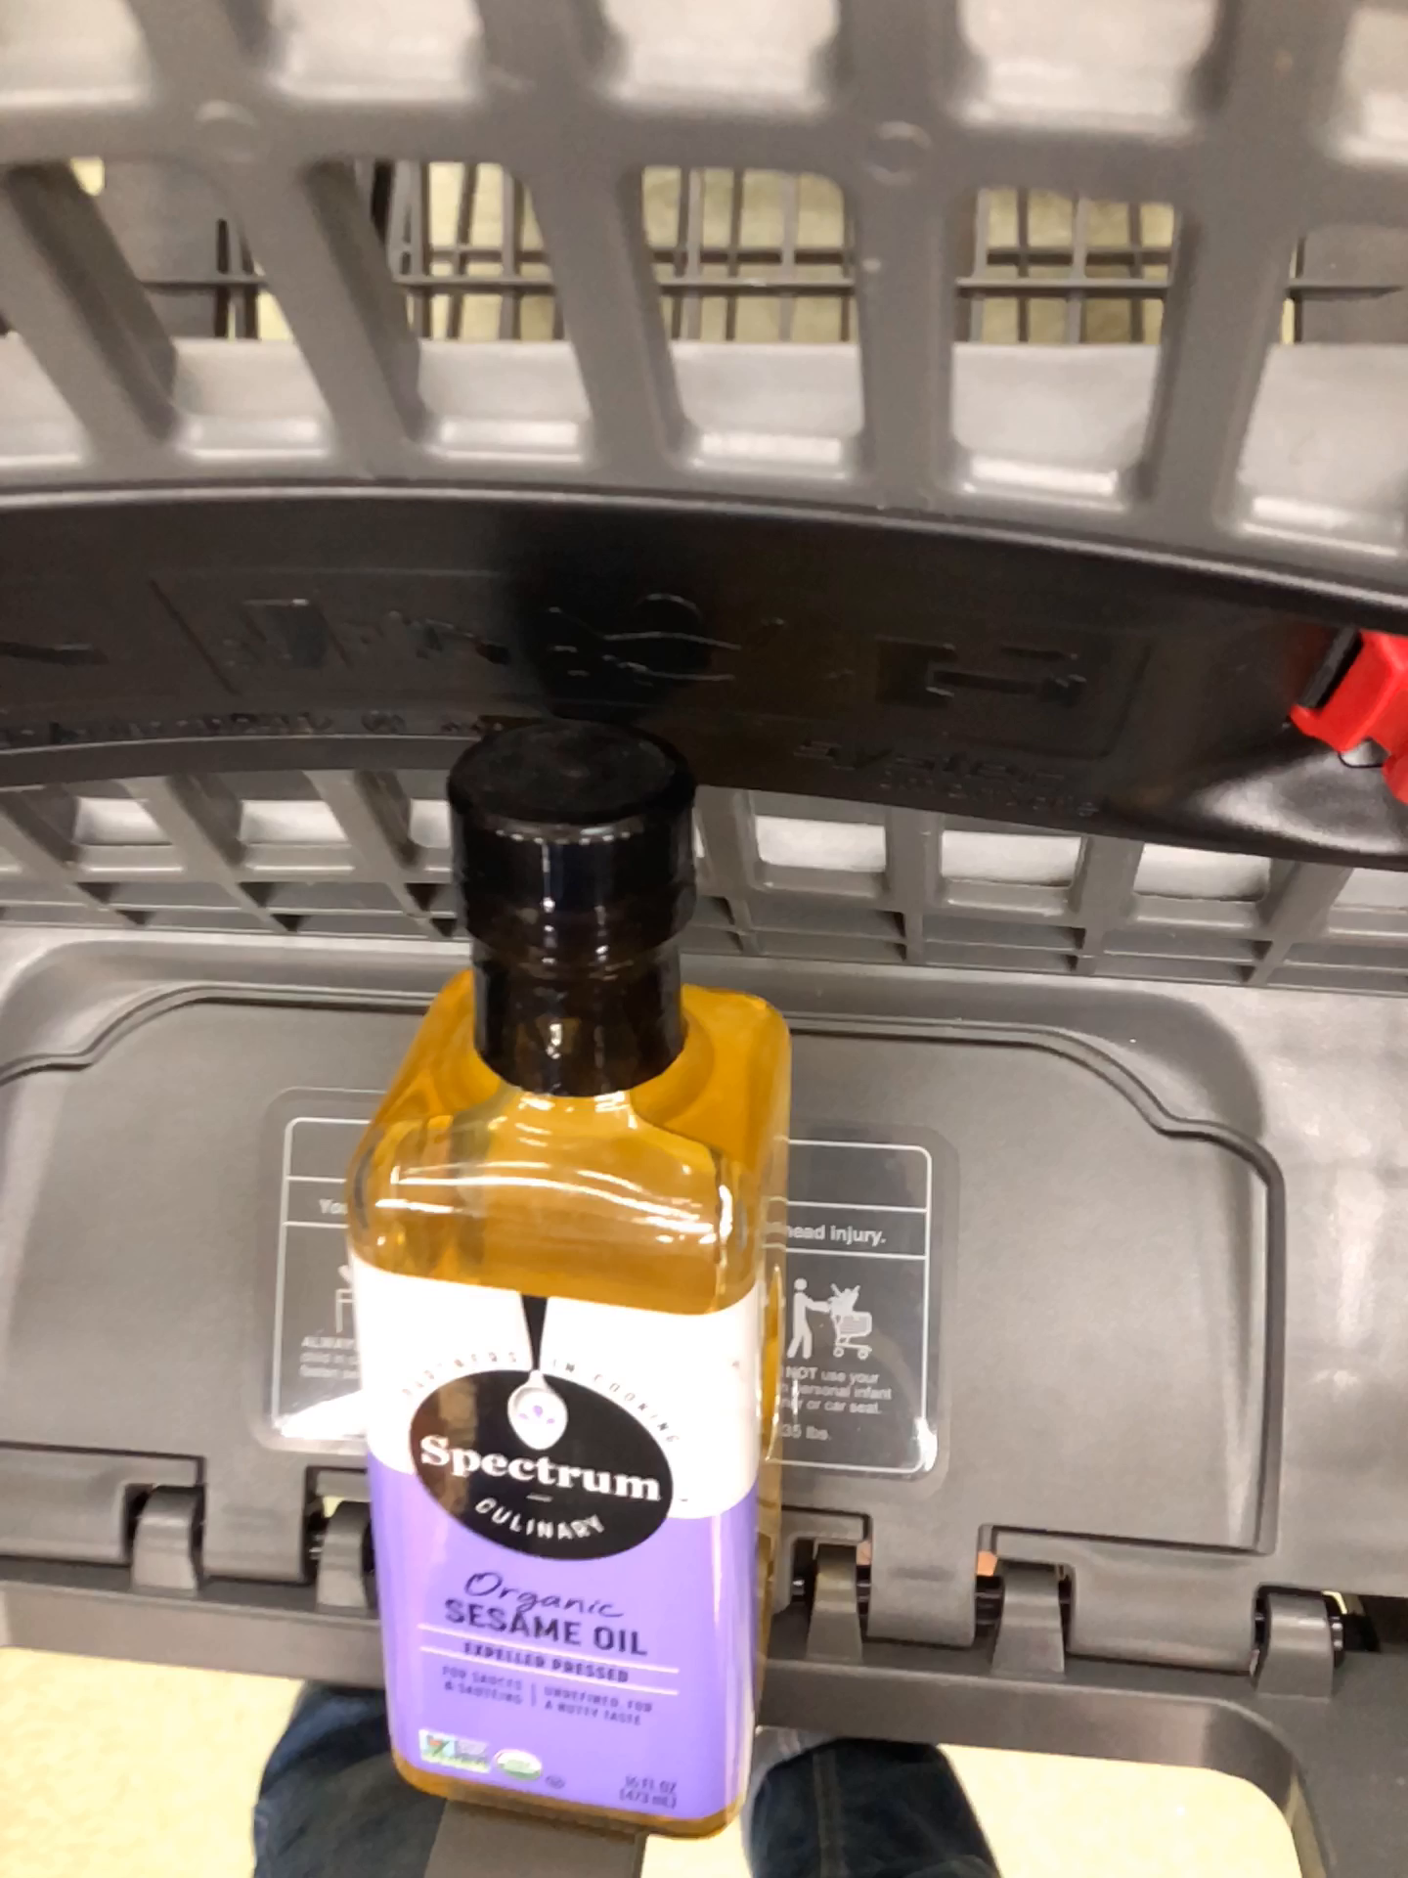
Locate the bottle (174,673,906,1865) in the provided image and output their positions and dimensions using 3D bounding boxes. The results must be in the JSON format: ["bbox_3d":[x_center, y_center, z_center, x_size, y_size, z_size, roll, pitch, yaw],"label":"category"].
[{"bbox_3d":[-0.017,0.065,0.255,0.080,0.065,0.201,5,126,5],"label":"bottle"}]
